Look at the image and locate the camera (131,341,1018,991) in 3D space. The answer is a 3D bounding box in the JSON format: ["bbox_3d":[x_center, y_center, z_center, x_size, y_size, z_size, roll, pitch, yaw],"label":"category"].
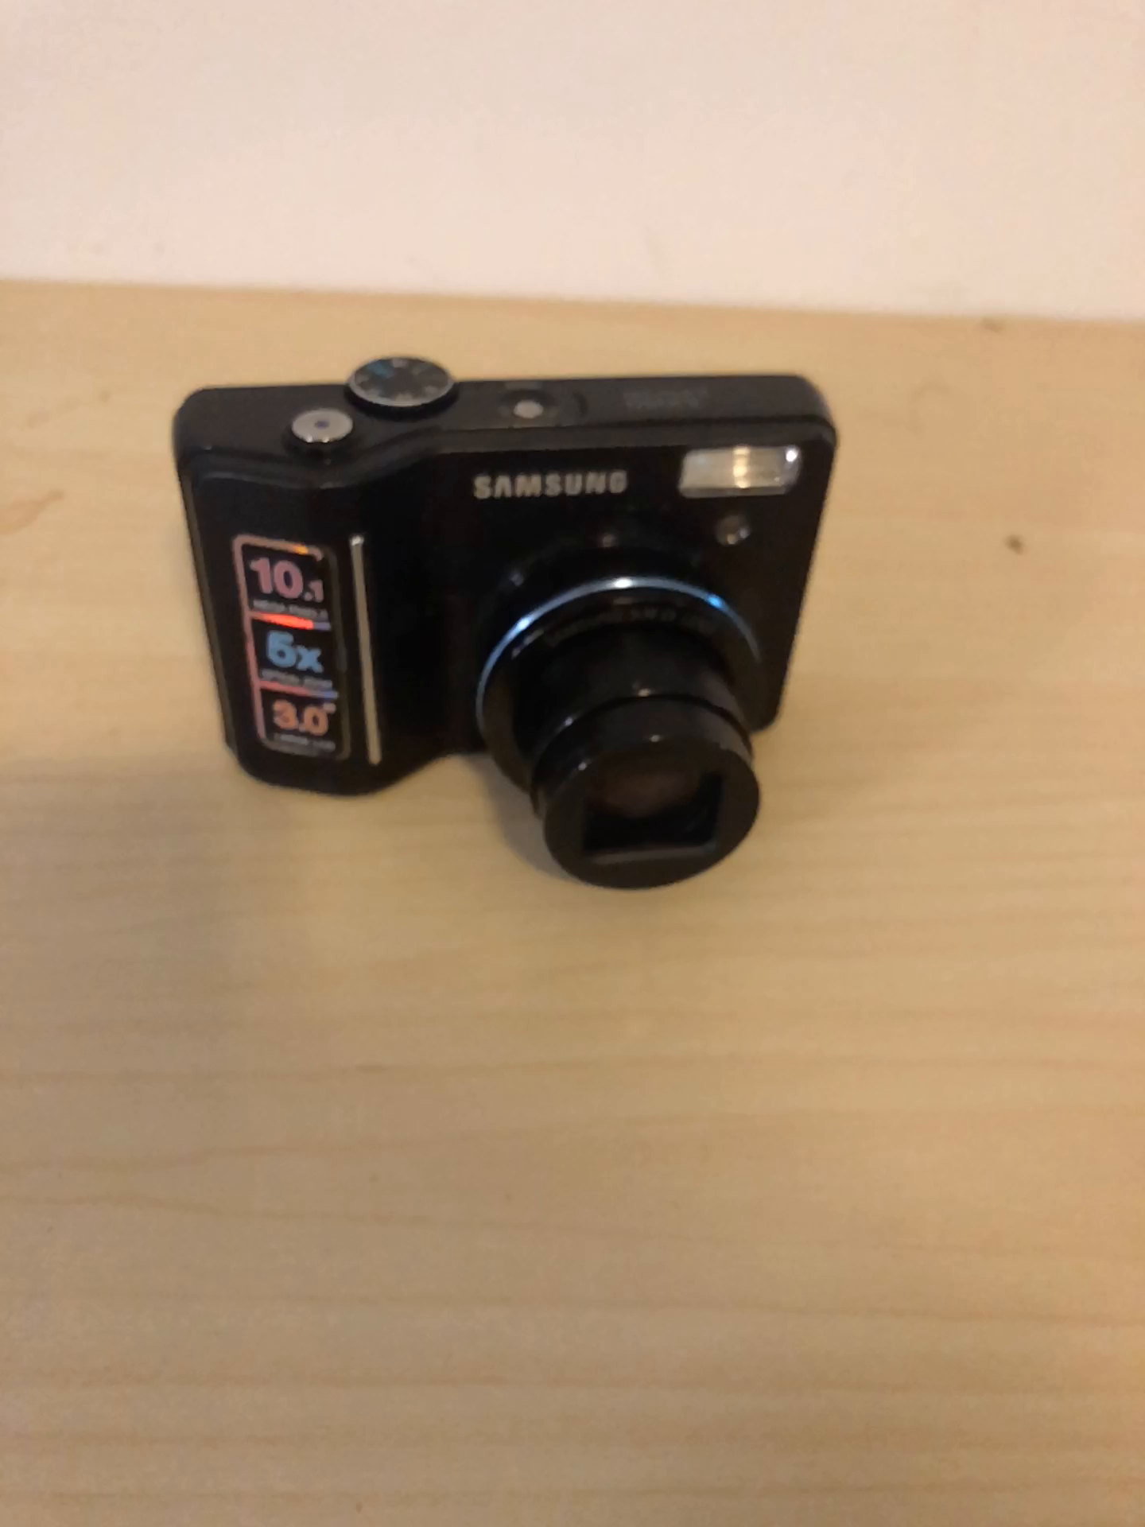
[{"bbox_3d":[-0.004,-0.017,0.208,0.110,0.070,0.070,-4,45,-7],"label":"camera"}]
